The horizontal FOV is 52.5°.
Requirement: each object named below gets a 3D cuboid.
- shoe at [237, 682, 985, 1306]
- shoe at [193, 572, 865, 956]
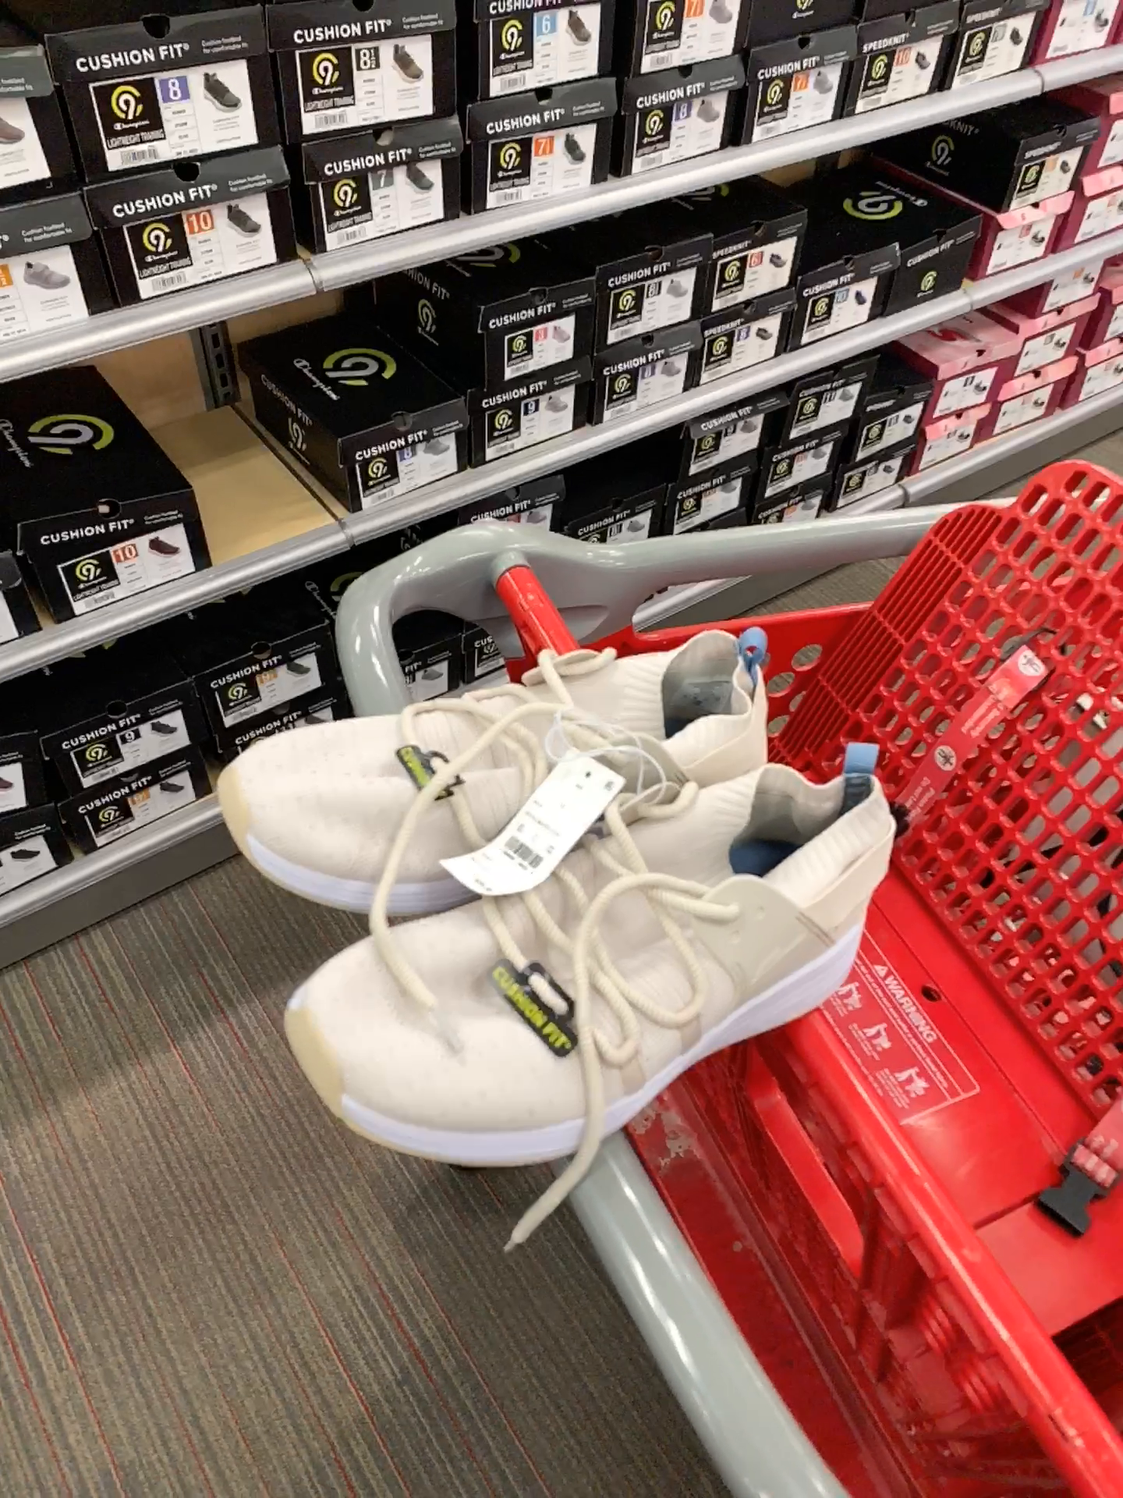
[{"bbox_3d":[0.026,0.079,0.464,0.280,0.110,0.110,-18,51,-35],"label":"shoe"},{"bbox_3d":[-0.014,-0.005,0.541,0.280,0.110,0.110,-6,47,-31],"label":"shoe"}]
